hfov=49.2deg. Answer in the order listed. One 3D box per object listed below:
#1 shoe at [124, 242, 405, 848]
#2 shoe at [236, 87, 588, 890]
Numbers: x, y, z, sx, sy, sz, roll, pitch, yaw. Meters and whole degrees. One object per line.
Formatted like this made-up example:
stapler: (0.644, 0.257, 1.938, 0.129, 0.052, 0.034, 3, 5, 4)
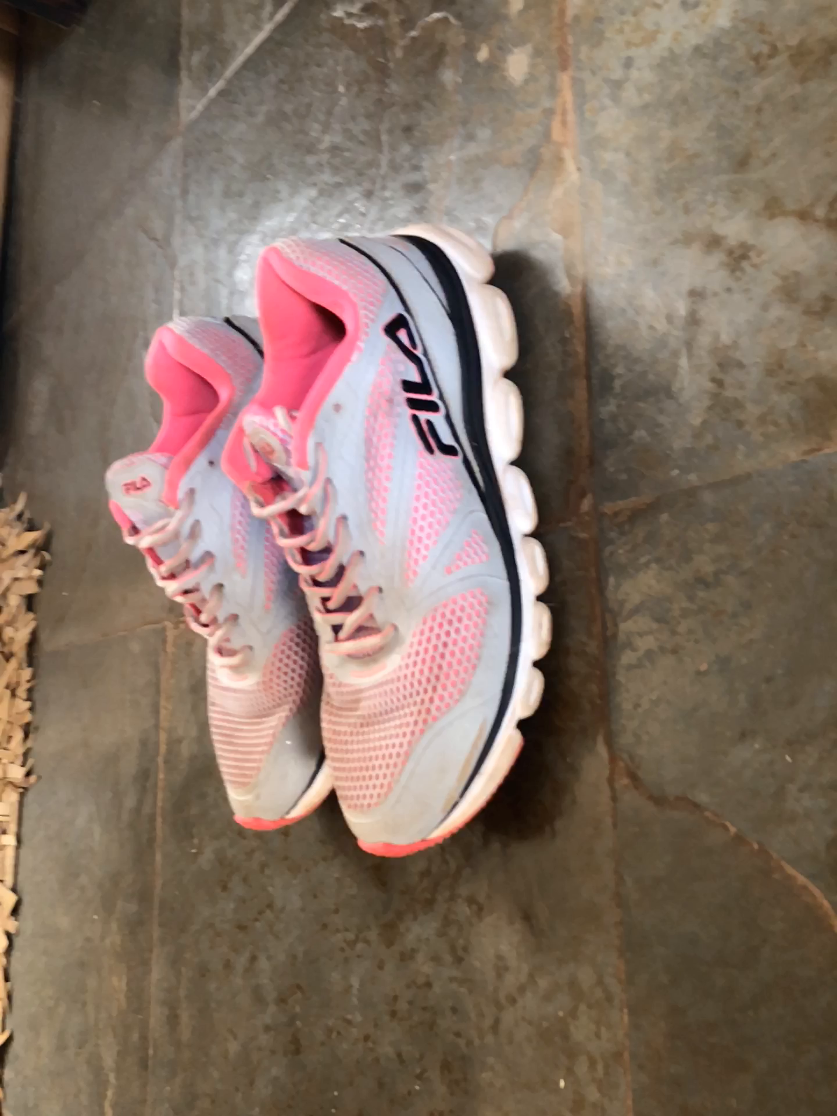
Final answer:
shoe: (-0.087, -0.002, 0.490, 0.110, 0.100, 0.280, -13, 76, 49)
shoe: (-0.007, -0.024, 0.399, 0.110, 0.100, 0.290, -9, 79, 50)
